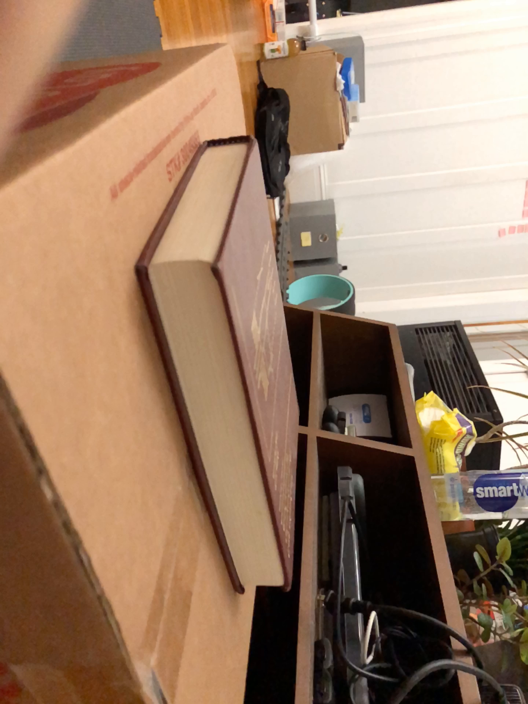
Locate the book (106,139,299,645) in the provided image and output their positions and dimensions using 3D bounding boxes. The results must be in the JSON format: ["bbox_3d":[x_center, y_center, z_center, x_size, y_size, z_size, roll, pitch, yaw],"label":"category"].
[{"bbox_3d":[-0.014,0.022,0.355,0.190,0.040,0.240,-83,166,-54],"label":"book"}]
